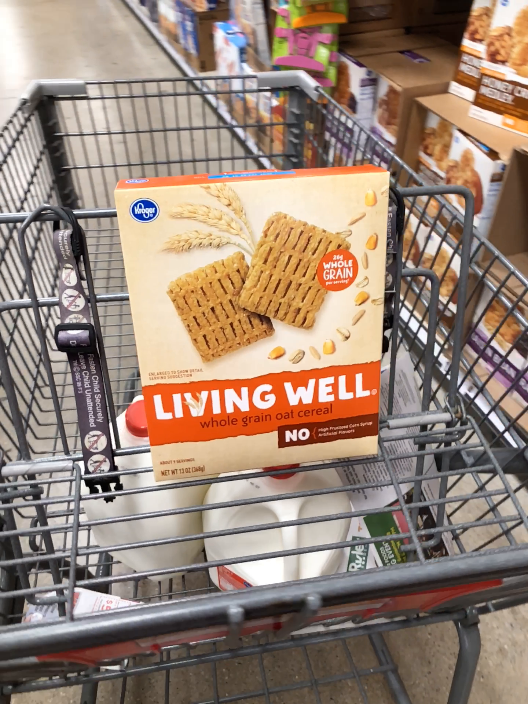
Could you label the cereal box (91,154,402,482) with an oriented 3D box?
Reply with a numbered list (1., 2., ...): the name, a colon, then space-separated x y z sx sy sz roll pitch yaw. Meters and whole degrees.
1. cereal box: -0.008 -0.024 0.468 0.210 0.240 0.060 -6 25 -7
